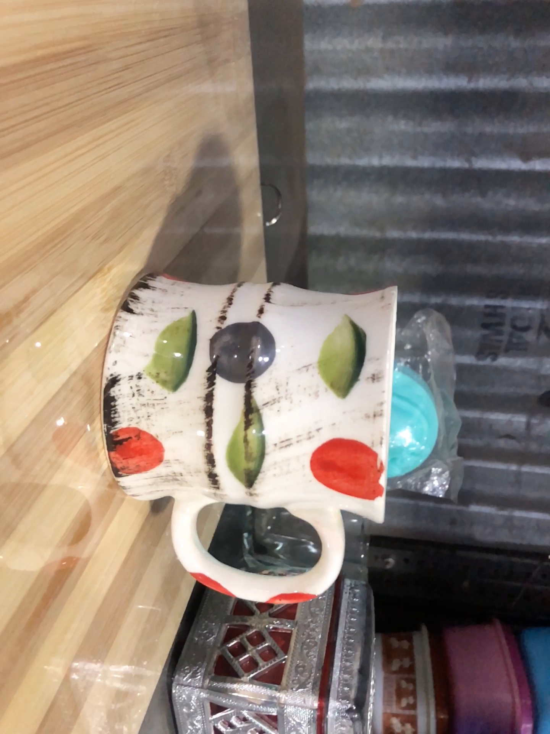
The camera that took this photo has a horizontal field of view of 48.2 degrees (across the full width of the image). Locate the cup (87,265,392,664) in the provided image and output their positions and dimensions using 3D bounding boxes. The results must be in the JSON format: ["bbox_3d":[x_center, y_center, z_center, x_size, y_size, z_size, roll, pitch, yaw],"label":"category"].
[{"bbox_3d":[-0.005,0.027,0.206,0.060,0.080,0.110,-62,153,-68],"label":"cup"}]
